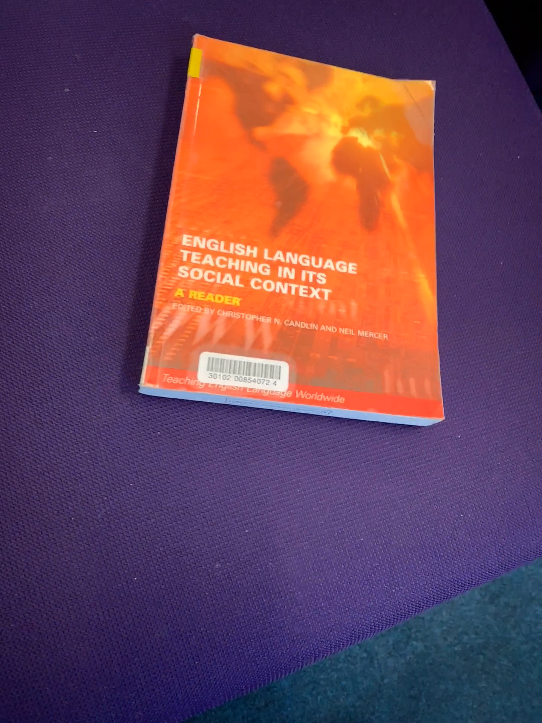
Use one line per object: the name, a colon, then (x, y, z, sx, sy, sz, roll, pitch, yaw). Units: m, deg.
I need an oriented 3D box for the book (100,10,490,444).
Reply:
book: (0.022, -0.093, 0.376, 0.220, 0.050, 0.271, 7, 69, -10)
